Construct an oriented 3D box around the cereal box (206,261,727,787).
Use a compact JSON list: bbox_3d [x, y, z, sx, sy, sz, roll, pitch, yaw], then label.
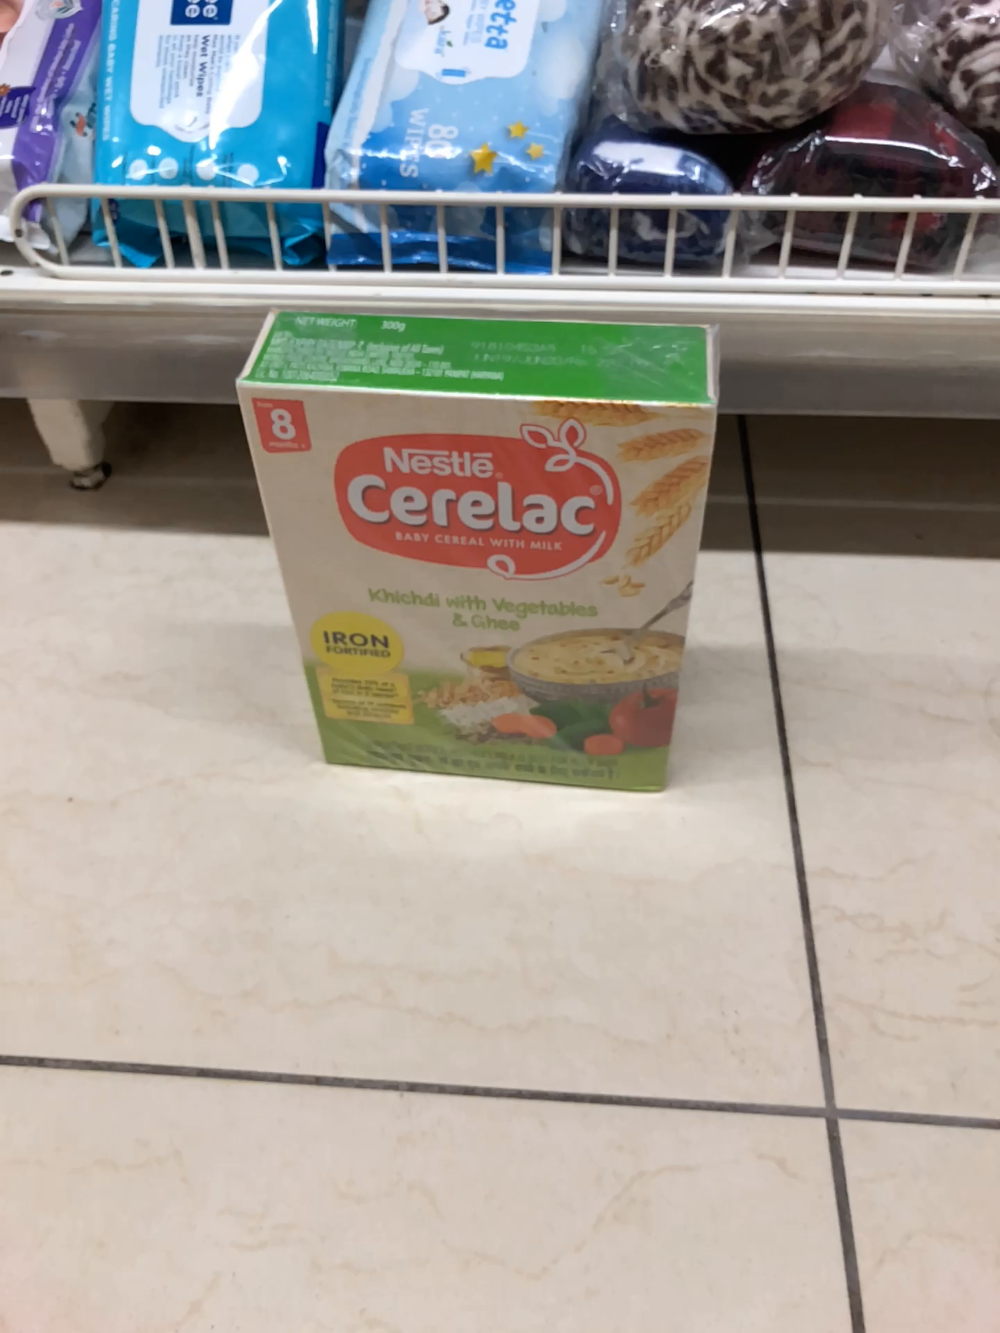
[{"bbox_3d":[-0.006,-0.045,0.429,0.160,0.199,0.060,4,46,5],"label":"cereal box"}]
